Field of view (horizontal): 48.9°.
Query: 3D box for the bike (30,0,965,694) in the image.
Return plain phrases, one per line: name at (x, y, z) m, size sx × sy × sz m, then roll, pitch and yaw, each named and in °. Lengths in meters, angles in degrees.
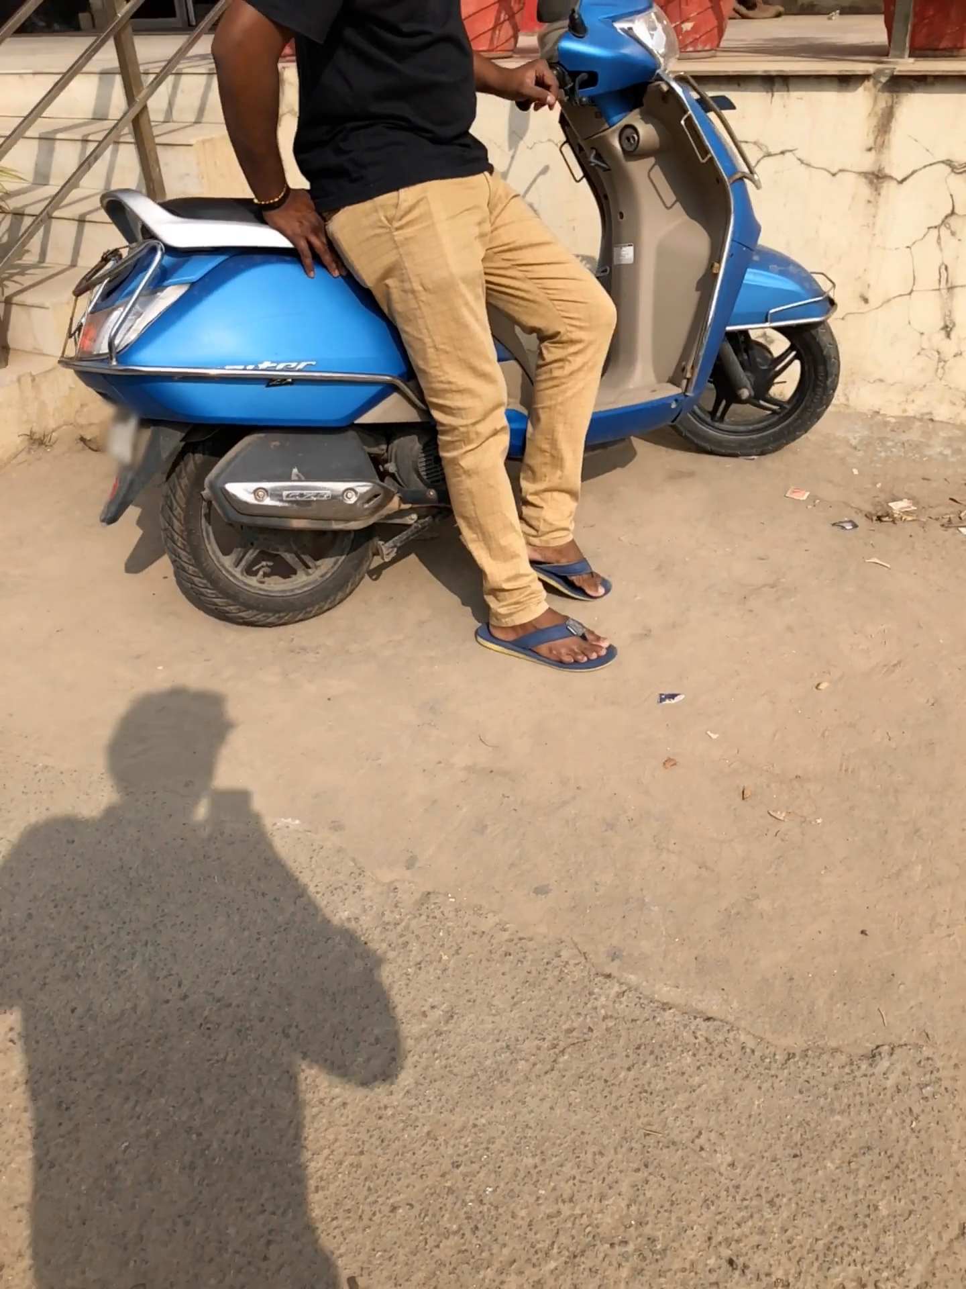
bike at (0.110, -0.709, 2.147) m, size 1.573 × 1.021 × 0.596 m, roll -18°, pitch 35°, yaw -19°
